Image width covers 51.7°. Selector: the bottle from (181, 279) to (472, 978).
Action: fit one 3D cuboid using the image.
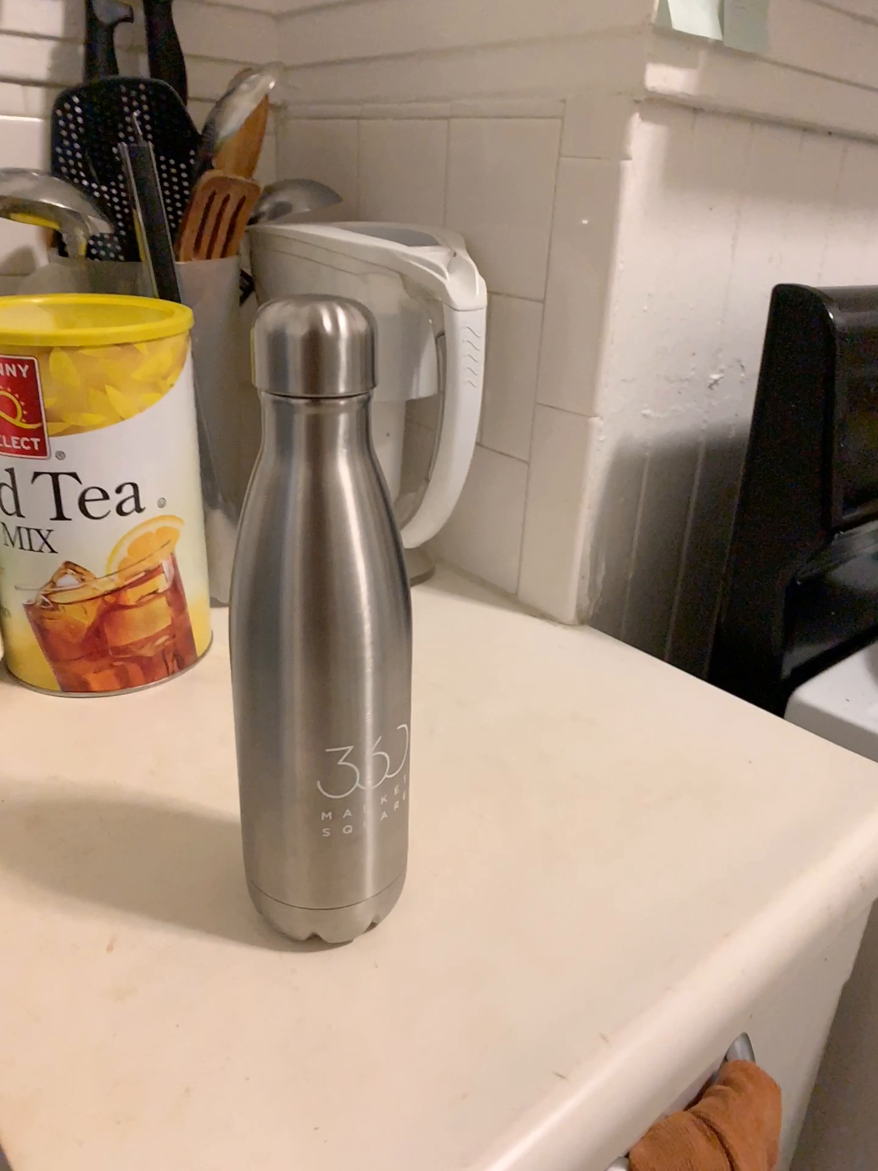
[{"bbox_3d":[-0.044,0.018,0.345,0.070,0.249,0.070,3,24,-1],"label":"bottle"}]
